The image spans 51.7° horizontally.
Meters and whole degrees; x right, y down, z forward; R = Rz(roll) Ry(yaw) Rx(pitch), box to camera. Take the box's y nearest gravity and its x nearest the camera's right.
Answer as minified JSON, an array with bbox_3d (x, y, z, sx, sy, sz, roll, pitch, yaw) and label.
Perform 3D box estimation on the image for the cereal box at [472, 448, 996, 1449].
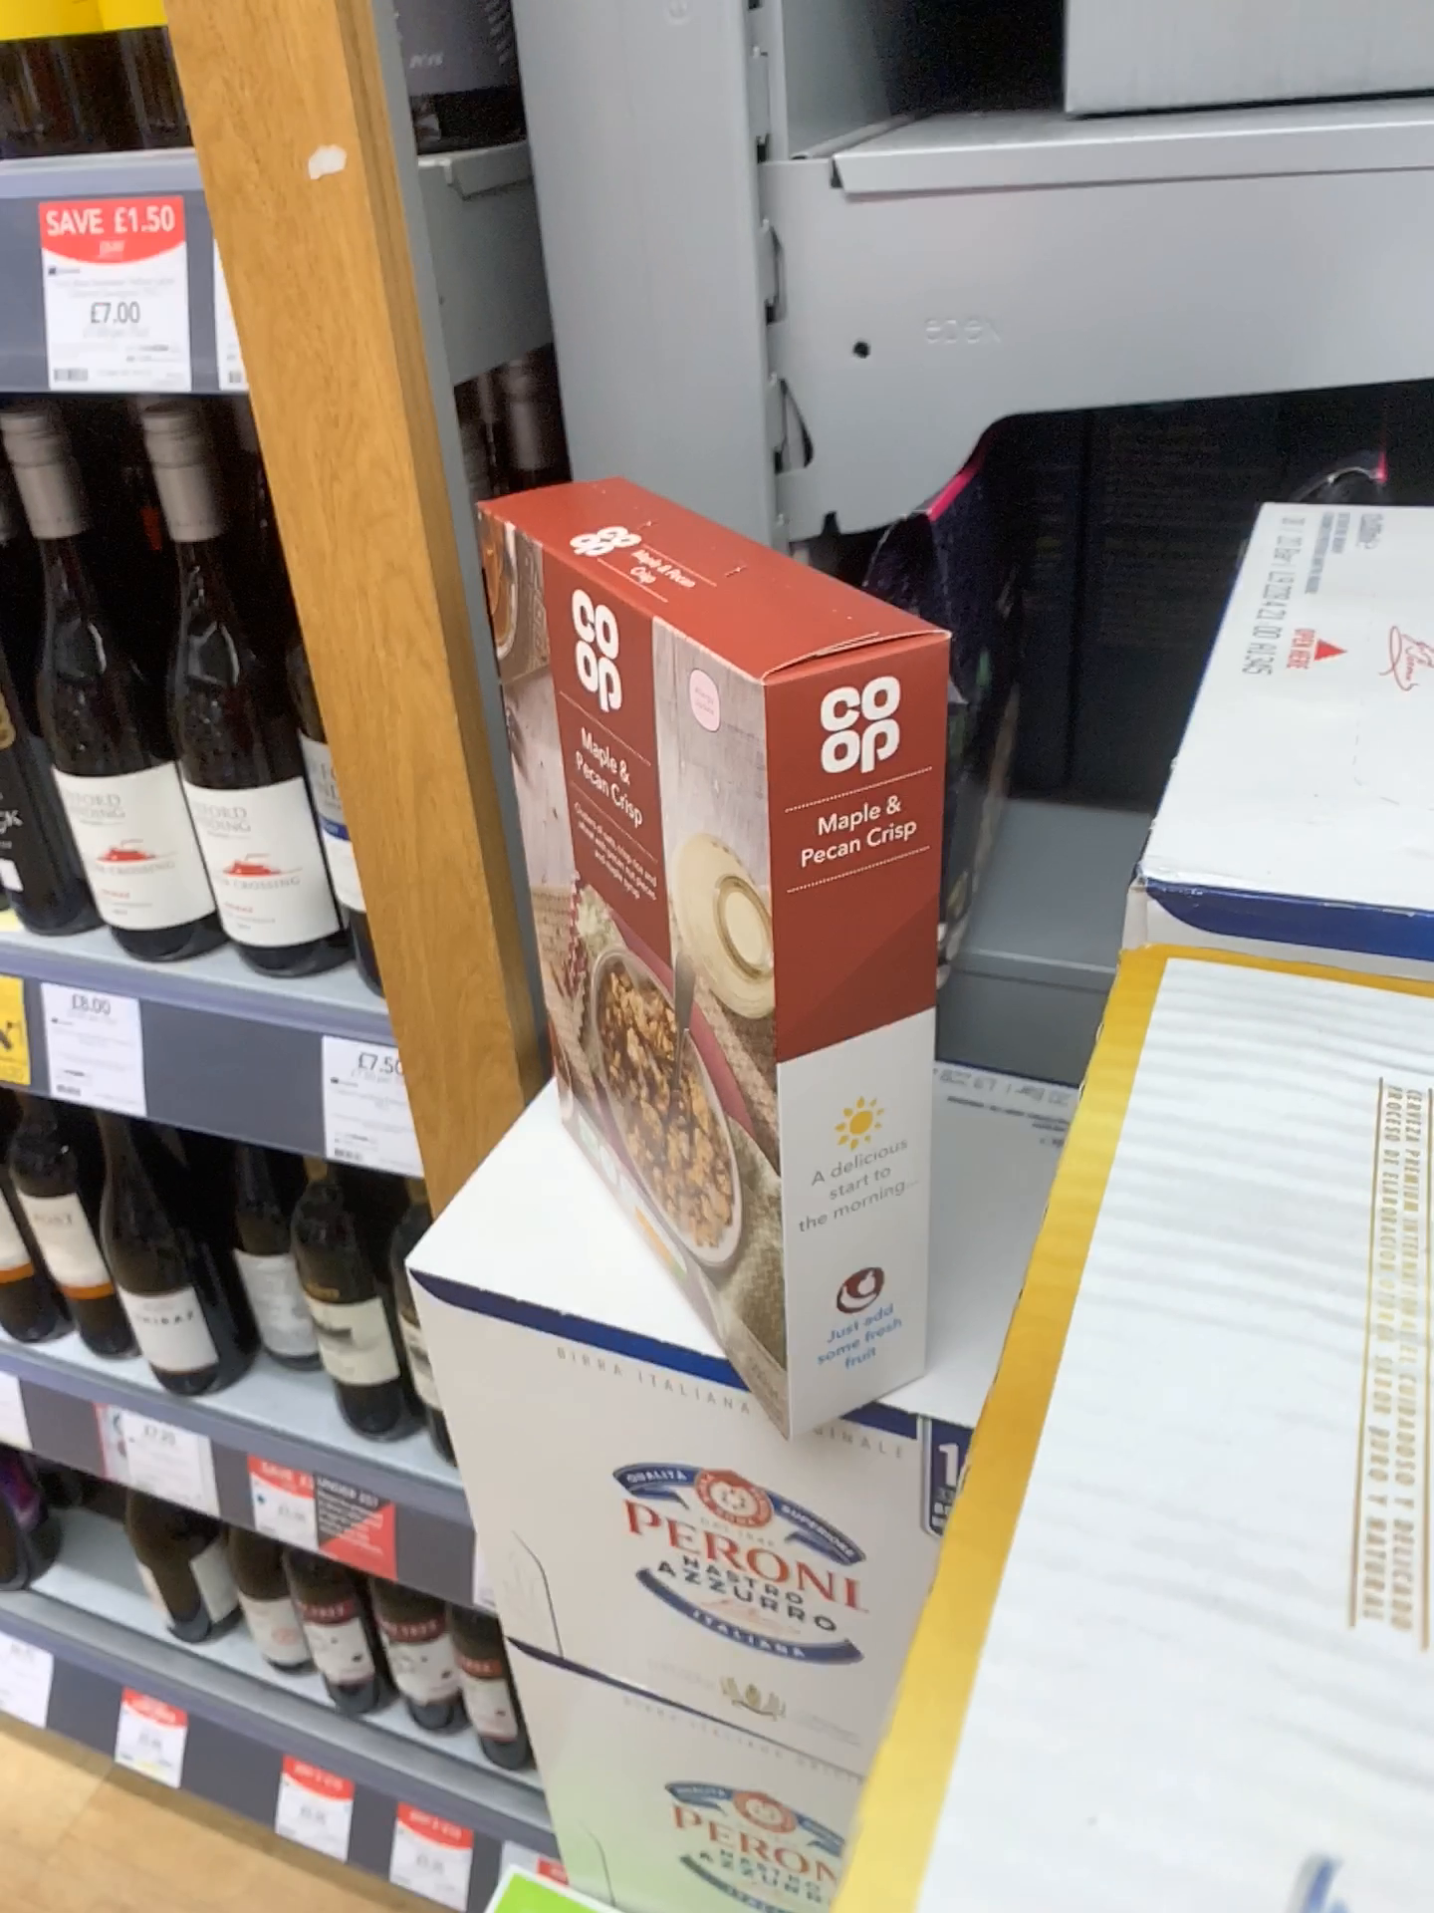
[{"bbox_3d":[0.000,-0.008,0.458,0.060,0.248,0.181,-18,35,-22],"label":"cereal box"}]
